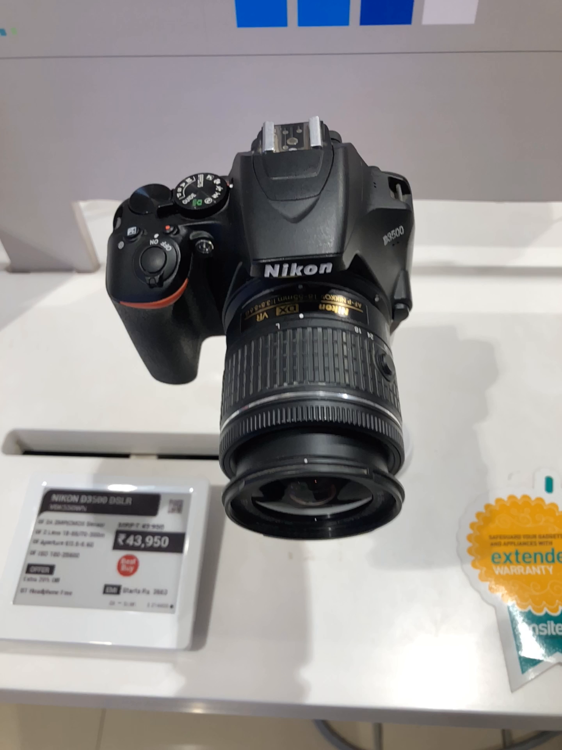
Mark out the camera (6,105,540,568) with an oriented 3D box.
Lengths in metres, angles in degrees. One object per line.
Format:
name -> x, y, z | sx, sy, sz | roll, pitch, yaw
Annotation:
camera -> -0.002, -0.013, 0.213 | 0.120, 0.090, 0.121 | -3, 53, 1
